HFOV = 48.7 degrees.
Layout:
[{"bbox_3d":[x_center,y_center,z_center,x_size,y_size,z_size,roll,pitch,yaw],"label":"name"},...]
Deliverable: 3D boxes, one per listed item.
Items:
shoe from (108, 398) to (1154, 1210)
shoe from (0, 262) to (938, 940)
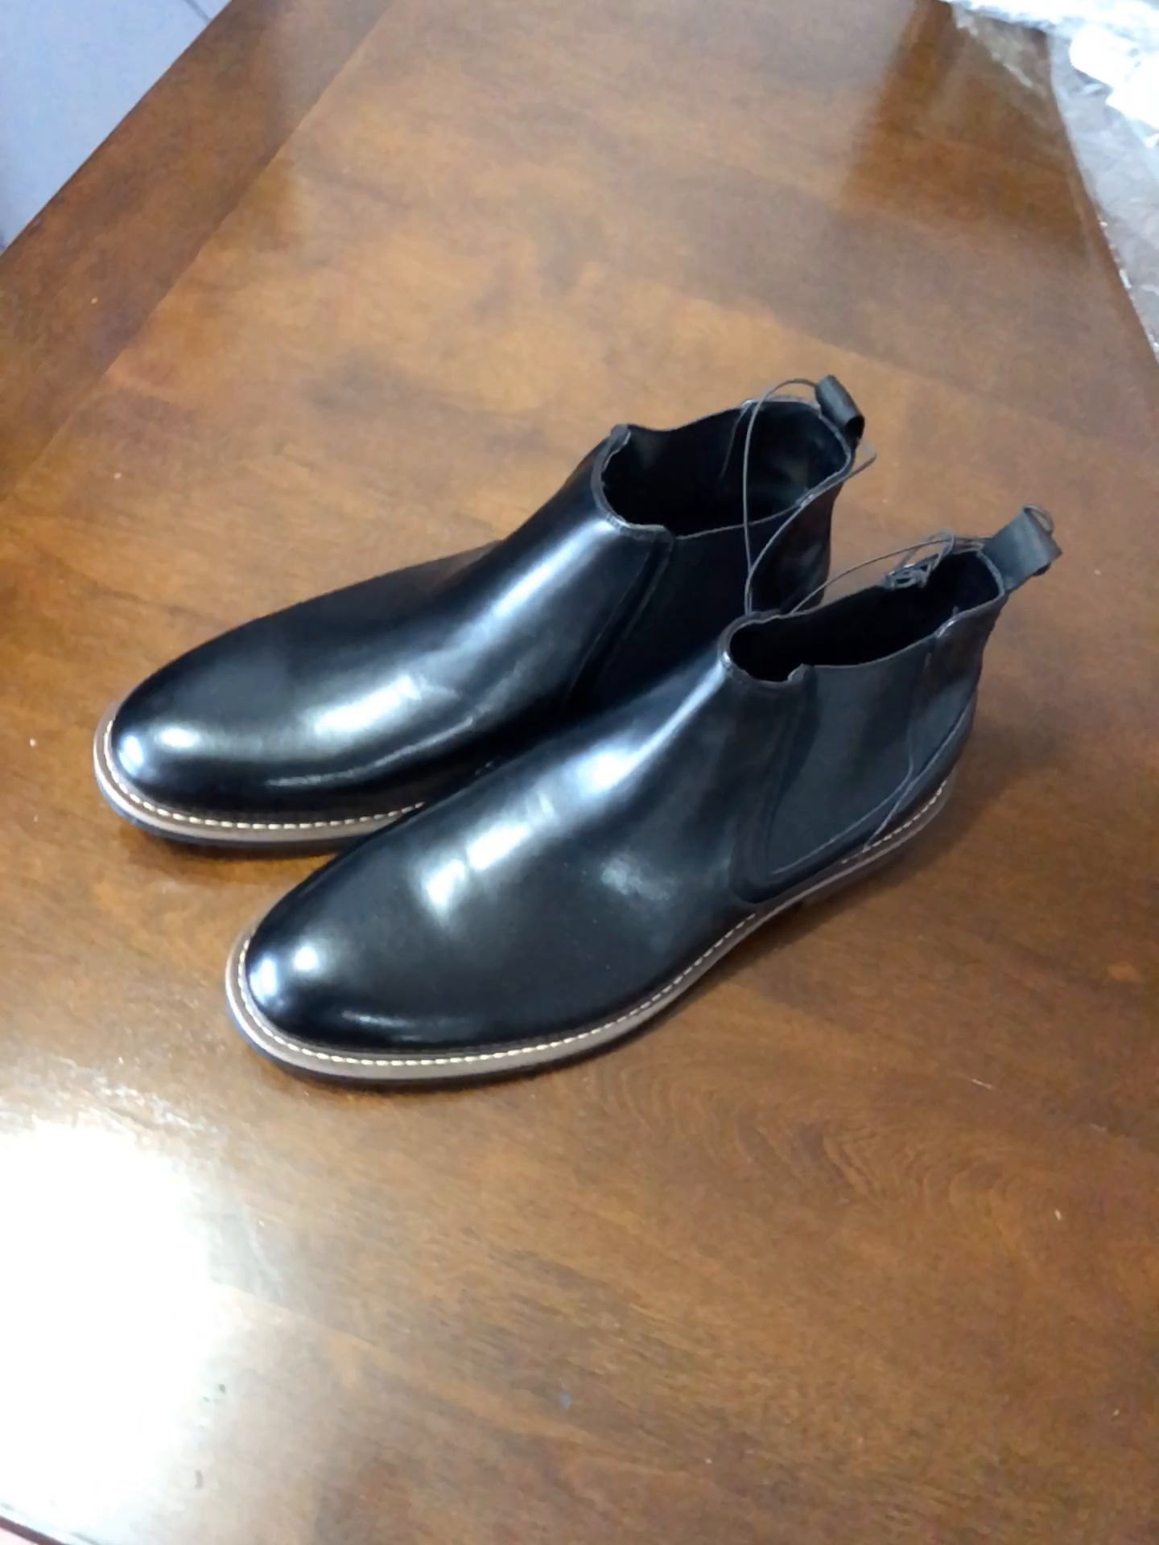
[{"bbox_3d":[0.017,0.012,0.460,0.300,0.170,0.120,-24,67,-20],"label":"shoe"},{"bbox_3d":[-0.044,-0.067,0.508,0.300,0.170,0.120,-17,65,-17],"label":"shoe"}]
